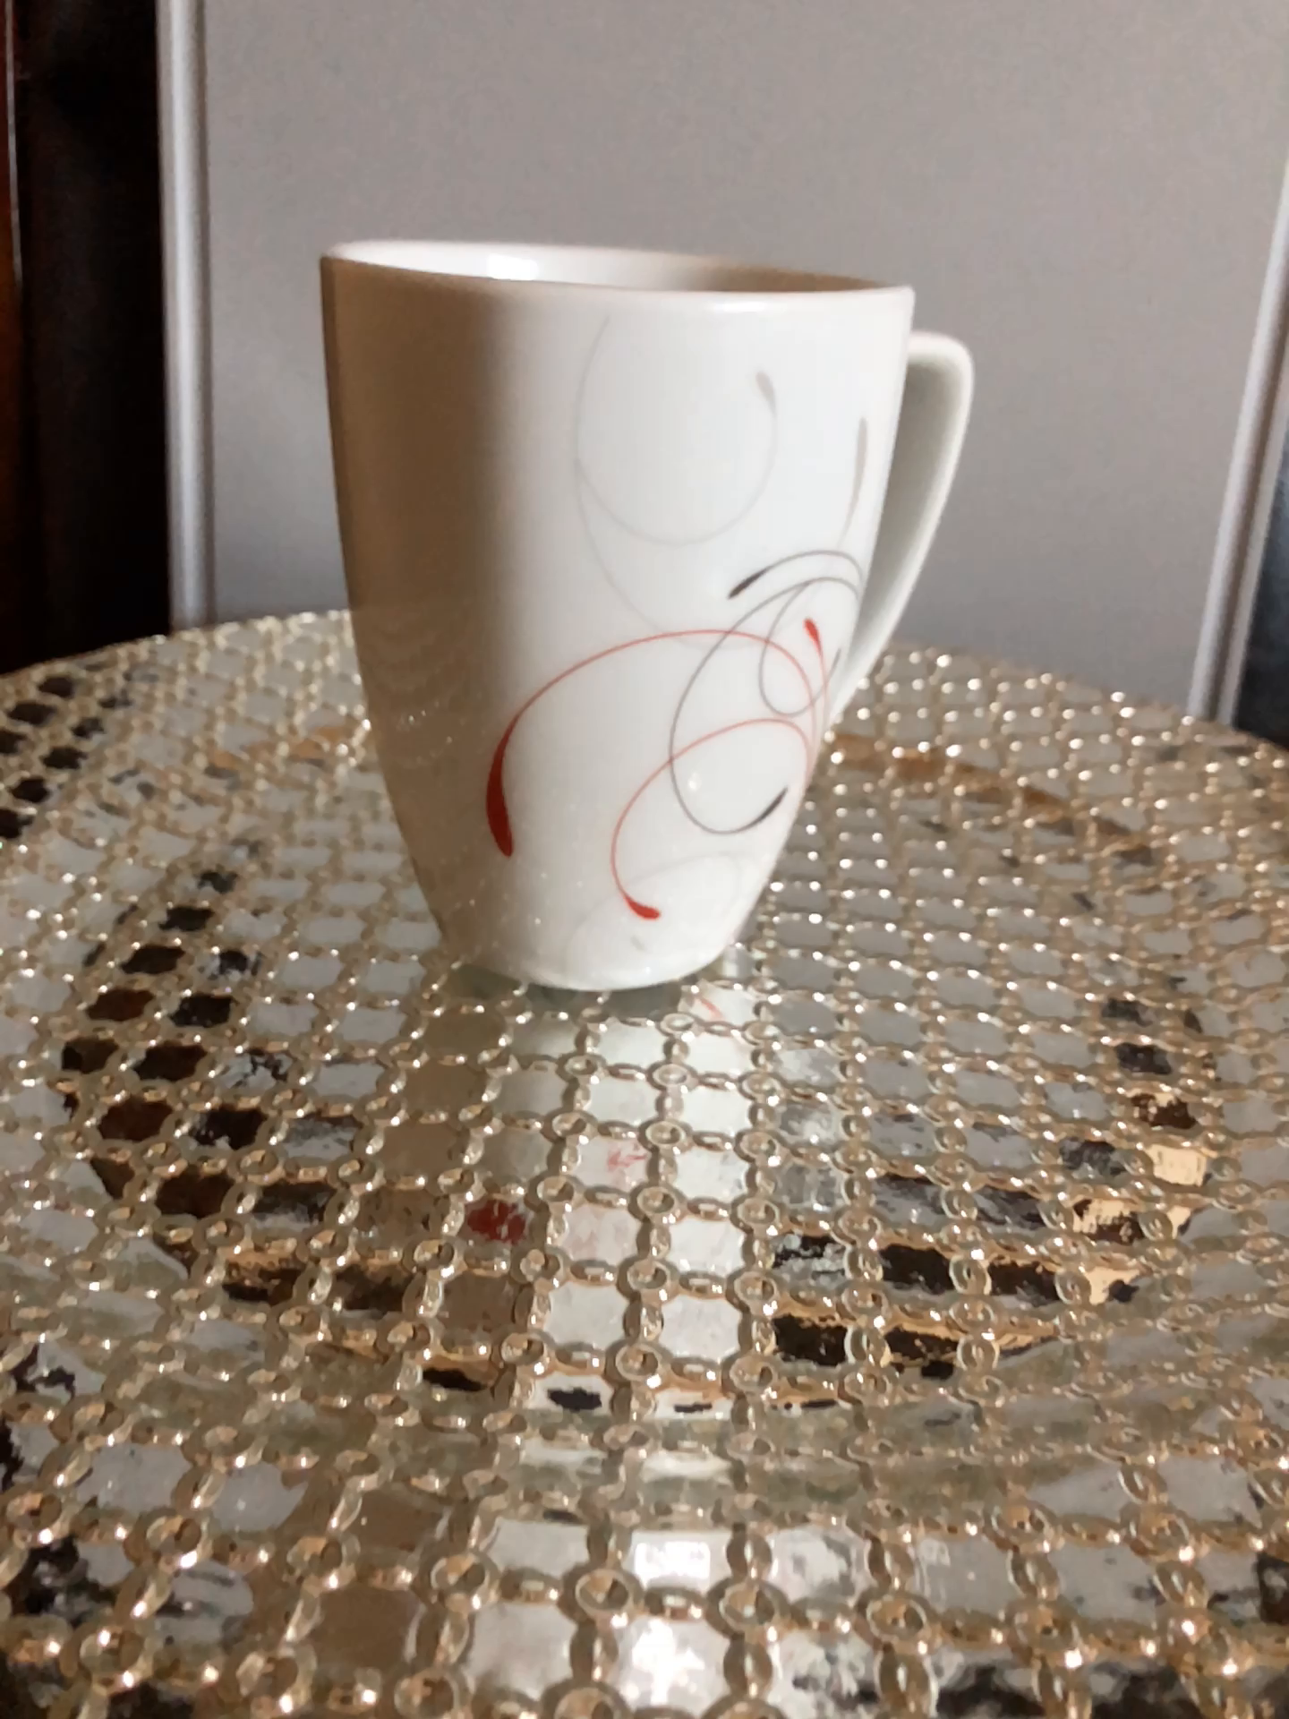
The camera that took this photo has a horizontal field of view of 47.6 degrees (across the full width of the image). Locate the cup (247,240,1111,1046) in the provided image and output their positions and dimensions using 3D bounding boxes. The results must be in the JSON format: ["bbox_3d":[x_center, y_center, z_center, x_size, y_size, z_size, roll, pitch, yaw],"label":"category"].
[{"bbox_3d":[0.005,-0.046,0.248,0.110,0.100,0.080,-19,33,-40],"label":"cup"}]
